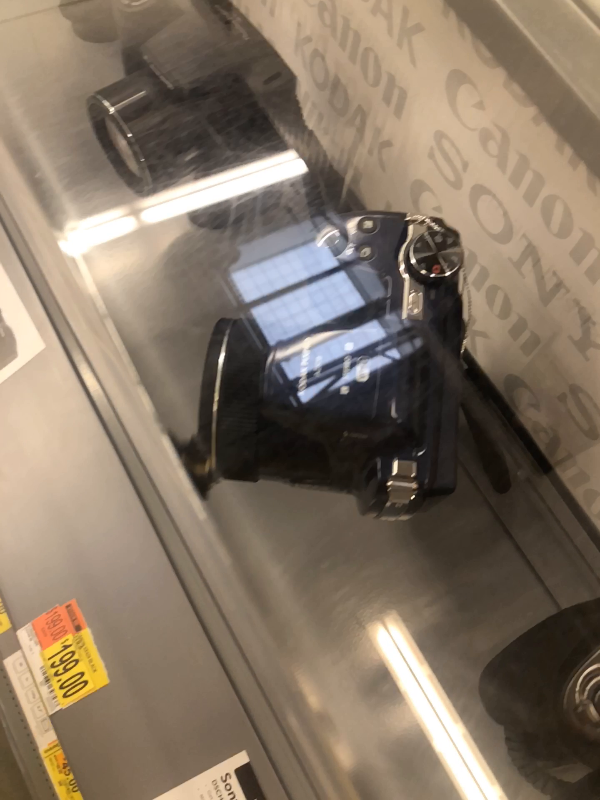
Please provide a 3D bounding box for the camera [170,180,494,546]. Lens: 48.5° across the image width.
[{"bbox_3d":[0.012,-0.010,0.289,0.110,0.090,0.120,6,67,-4],"label":"camera"}]
